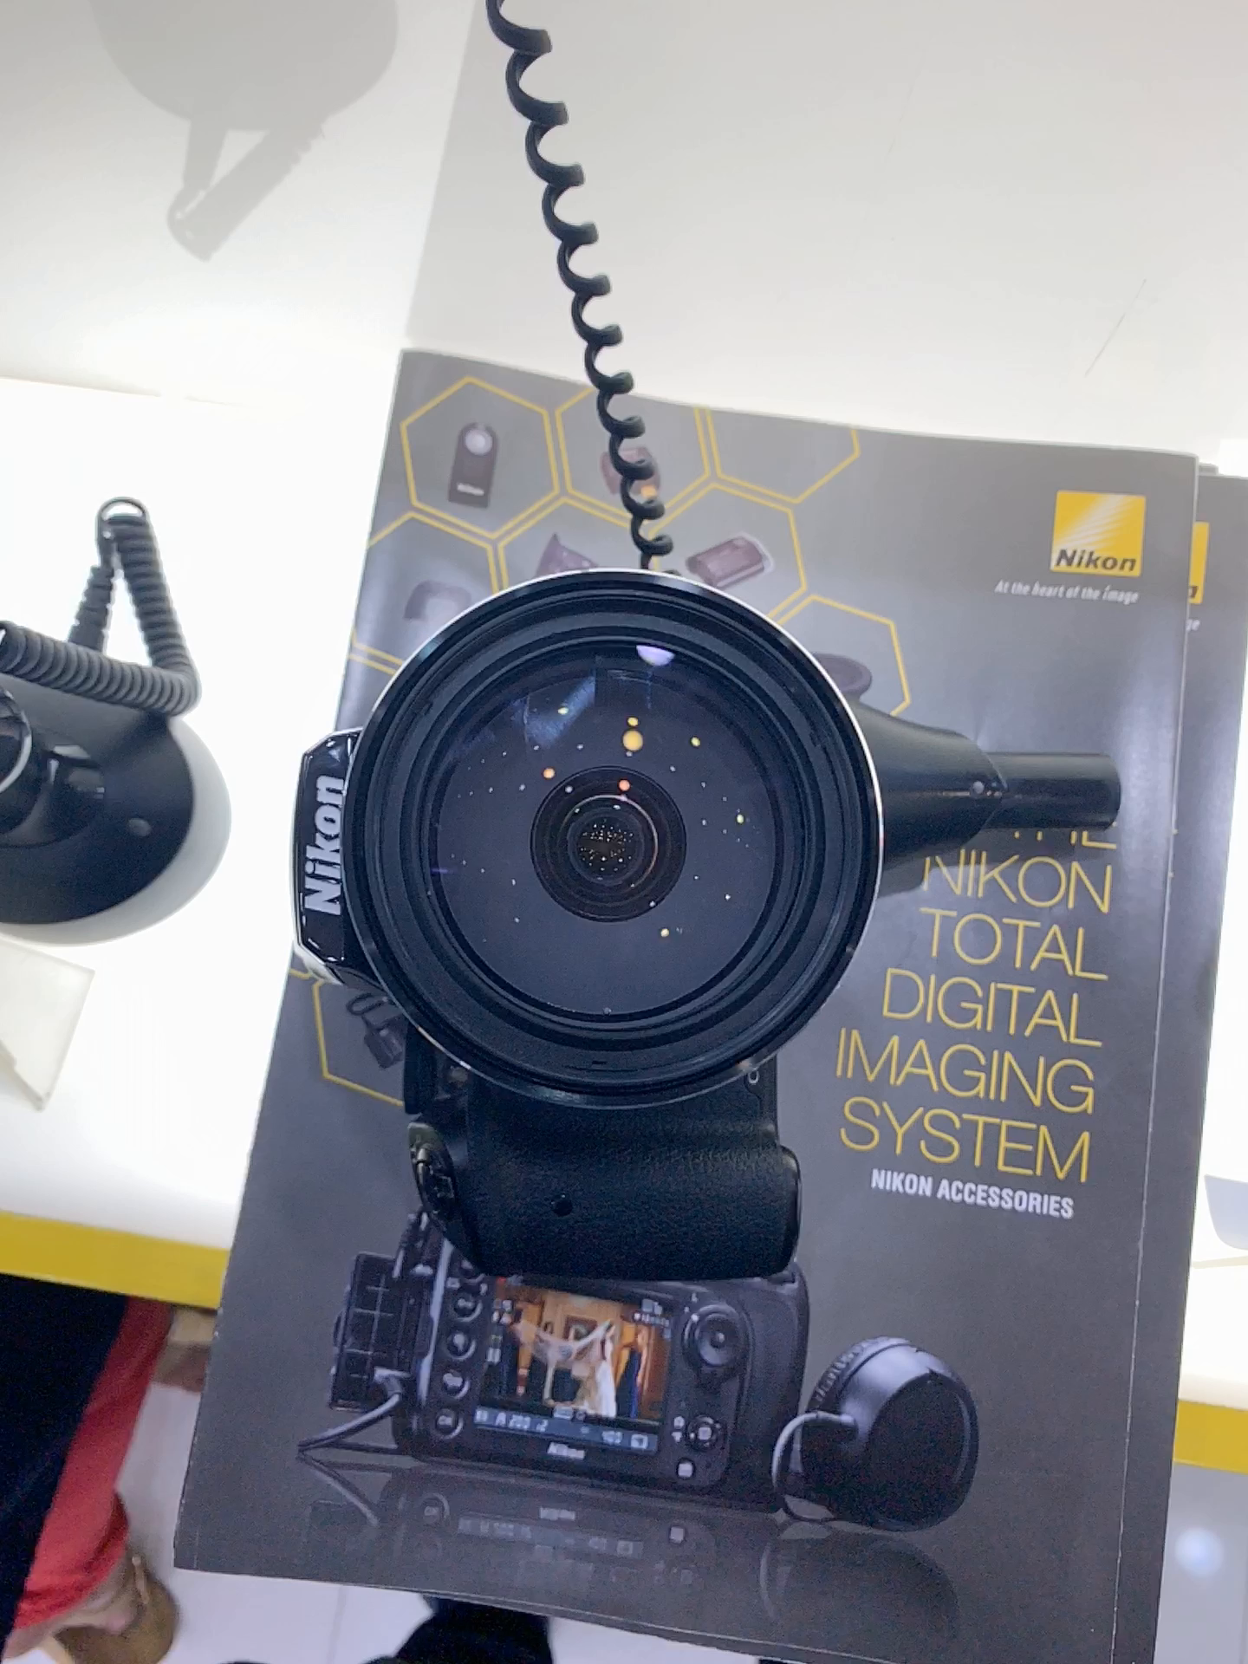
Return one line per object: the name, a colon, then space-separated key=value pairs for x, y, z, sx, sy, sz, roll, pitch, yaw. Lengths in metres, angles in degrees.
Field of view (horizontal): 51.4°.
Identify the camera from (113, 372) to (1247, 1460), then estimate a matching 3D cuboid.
camera: x=0.032 y=0.017 z=0.228 sx=0.200 sy=0.100 sz=0.140 roll=1 pitch=79 yaw=-8
